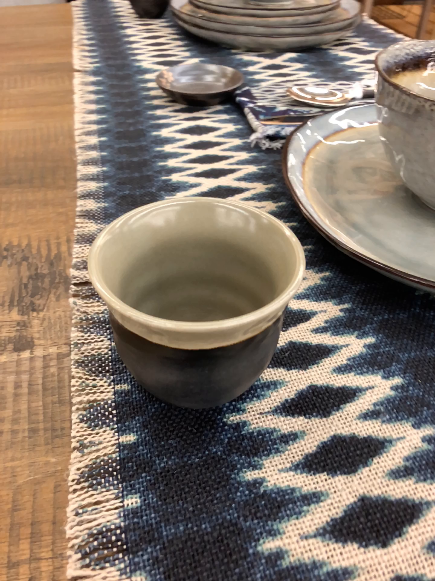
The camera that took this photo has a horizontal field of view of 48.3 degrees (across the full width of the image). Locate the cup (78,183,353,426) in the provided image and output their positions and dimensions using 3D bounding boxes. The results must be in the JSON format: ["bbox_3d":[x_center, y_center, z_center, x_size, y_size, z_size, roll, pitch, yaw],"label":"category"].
[{"bbox_3d":[-0.005,0.001,0.192,0.084,0.048,0.079,0,42,0],"label":"cup"}]
